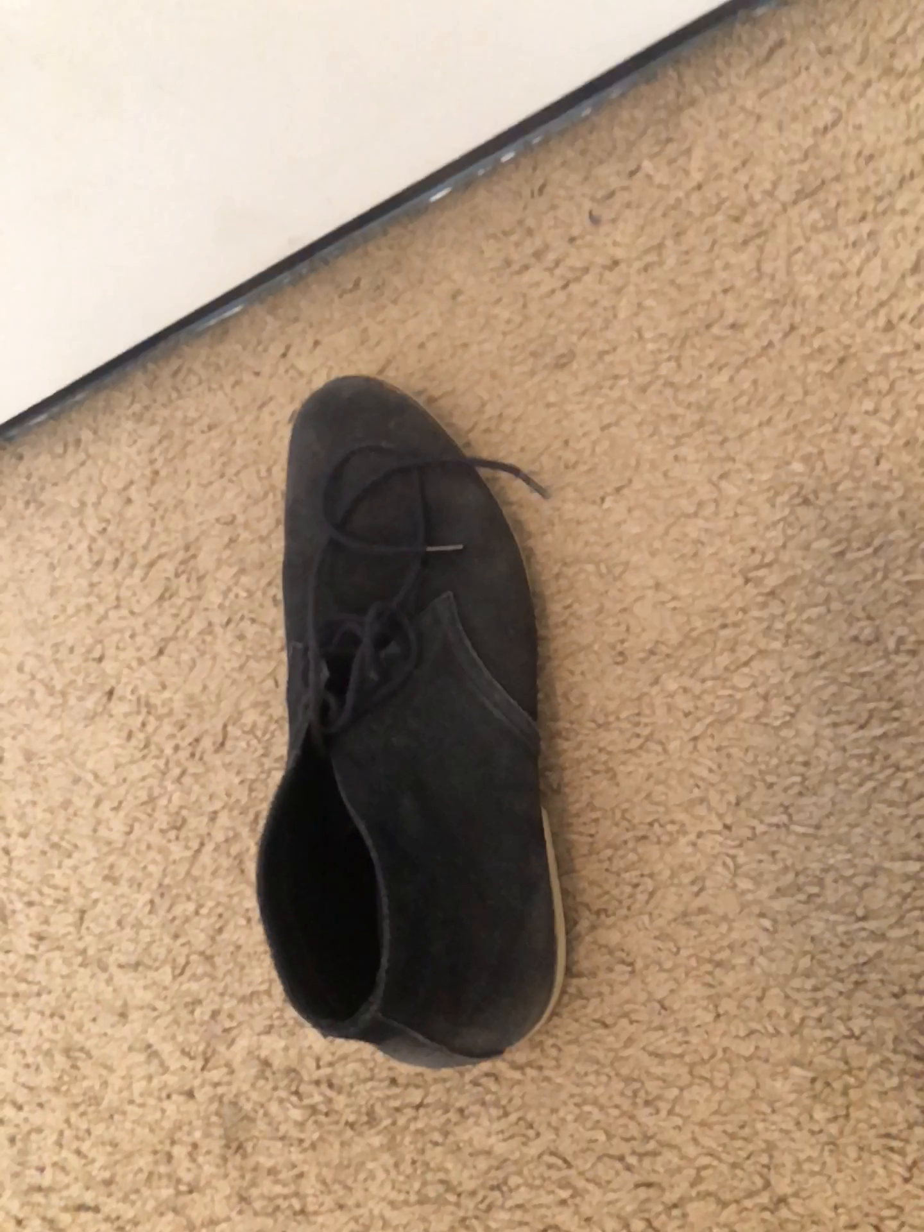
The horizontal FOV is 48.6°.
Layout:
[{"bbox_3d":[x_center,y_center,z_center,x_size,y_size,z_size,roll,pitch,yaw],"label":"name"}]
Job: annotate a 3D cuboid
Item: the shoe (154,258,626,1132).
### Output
[{"bbox_3d":[-0.033,0.026,0.385,0.102,0.095,0.279,-19,70,23],"label":"shoe"}]
